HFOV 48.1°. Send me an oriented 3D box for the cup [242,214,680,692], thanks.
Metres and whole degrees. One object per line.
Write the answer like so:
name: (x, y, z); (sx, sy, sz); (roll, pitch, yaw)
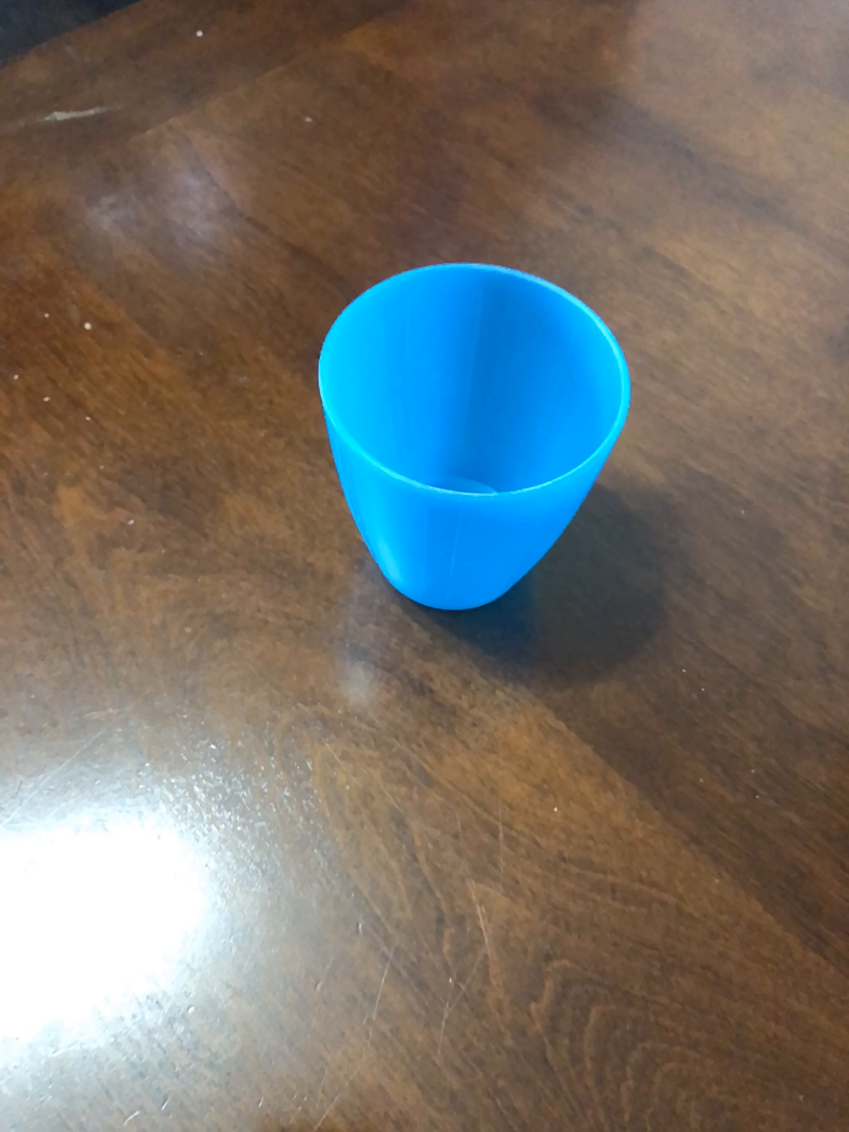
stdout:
cup: (0.009, -0.028, 0.257); (0.080, 0.080, 0.070); (25, 61, 12)
